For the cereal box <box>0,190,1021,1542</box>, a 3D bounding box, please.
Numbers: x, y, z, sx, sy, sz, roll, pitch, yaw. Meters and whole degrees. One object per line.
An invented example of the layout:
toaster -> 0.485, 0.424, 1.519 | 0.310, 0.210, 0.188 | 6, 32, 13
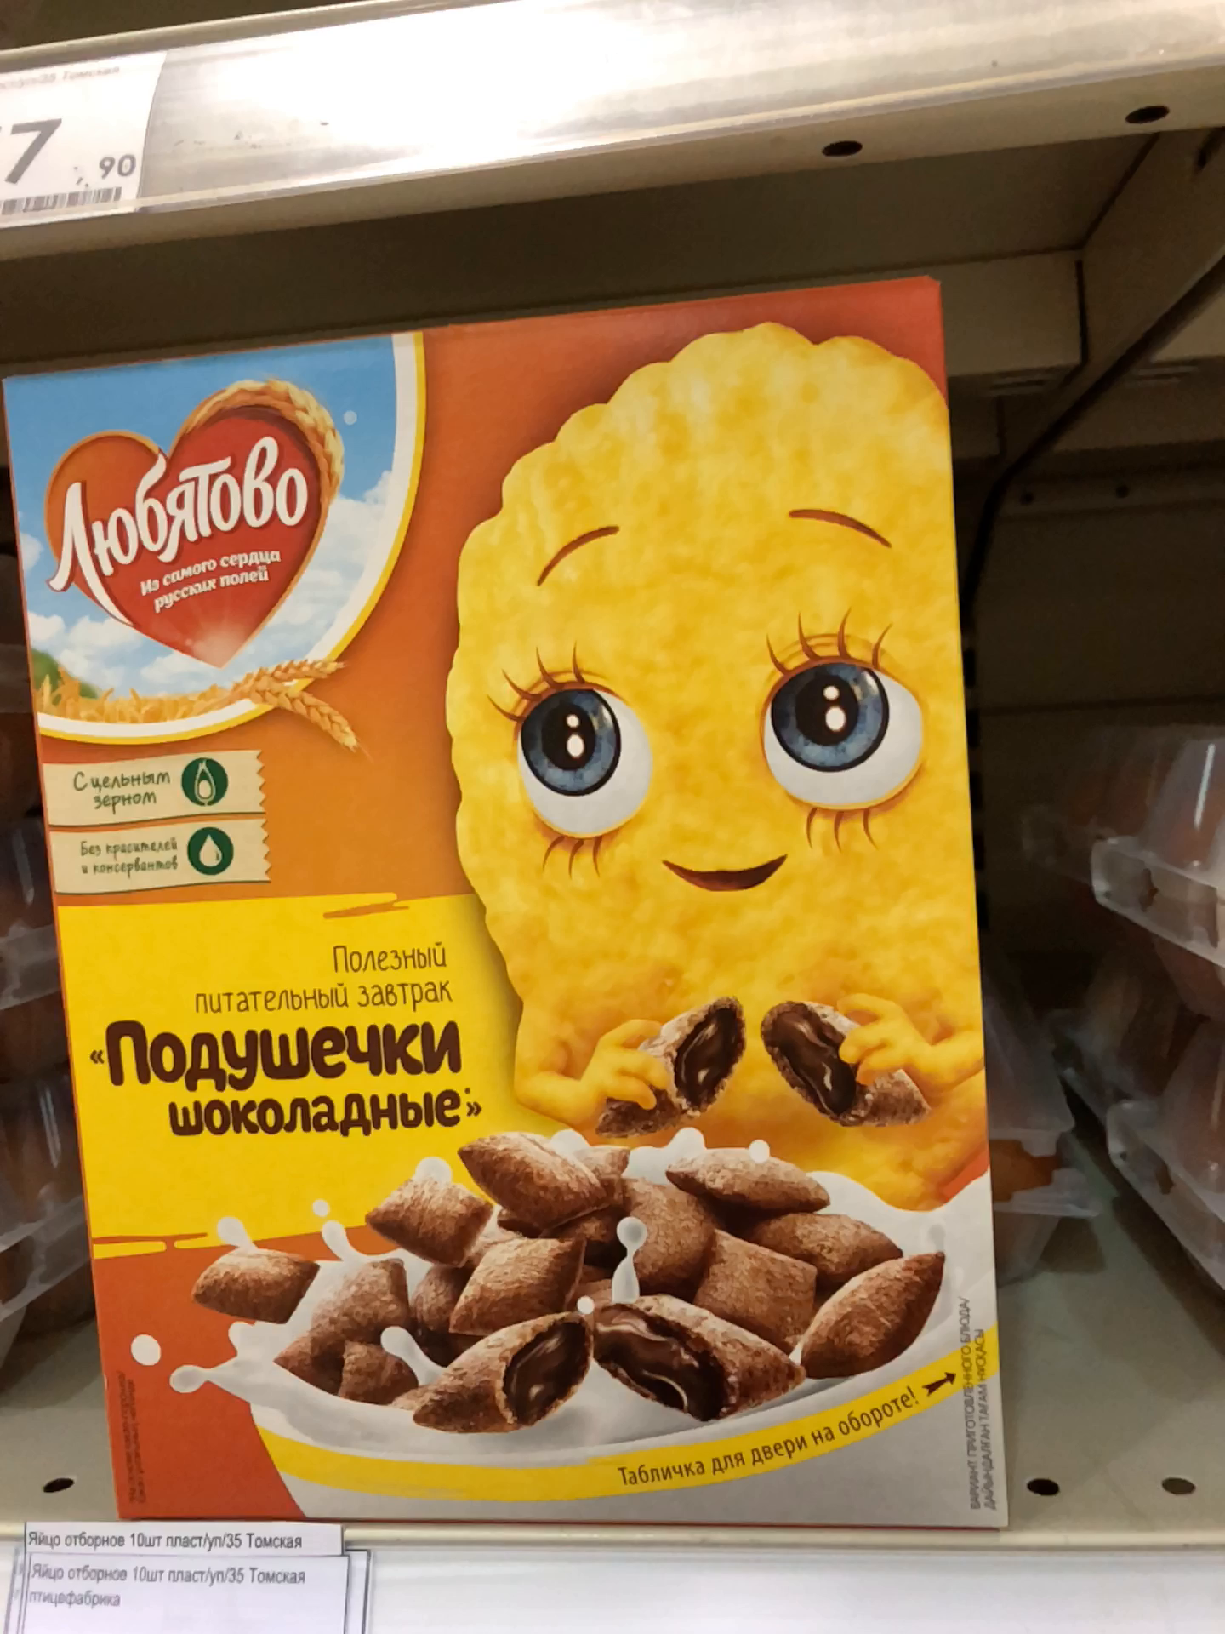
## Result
cereal box -> -0.020, 0.015, 0.271 | 0.180, 0.240, 0.040 | -3, 4, 7
